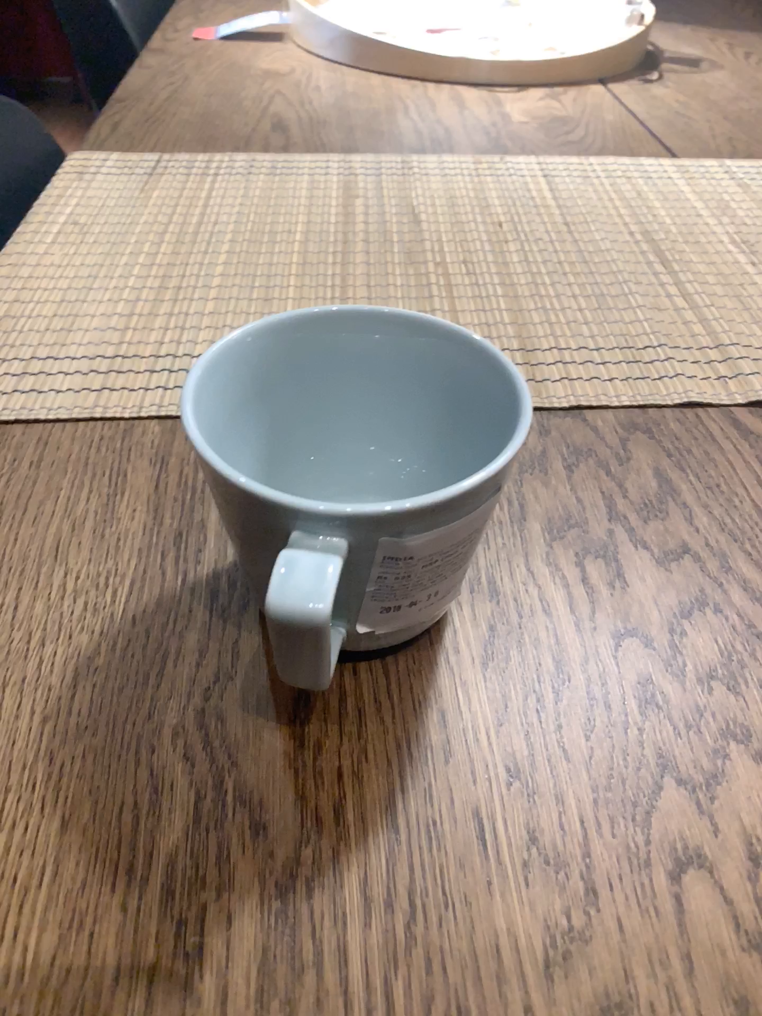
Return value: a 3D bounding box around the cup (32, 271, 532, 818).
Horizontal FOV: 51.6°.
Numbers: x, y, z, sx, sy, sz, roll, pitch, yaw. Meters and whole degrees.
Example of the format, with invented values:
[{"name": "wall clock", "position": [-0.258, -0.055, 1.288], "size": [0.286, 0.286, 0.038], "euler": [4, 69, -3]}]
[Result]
[{"name": "cup", "position": [-0.017, 0.003, 0.267], "size": [0.110, 0.100, 0.141], "euler": [10, 42, 8]}]
